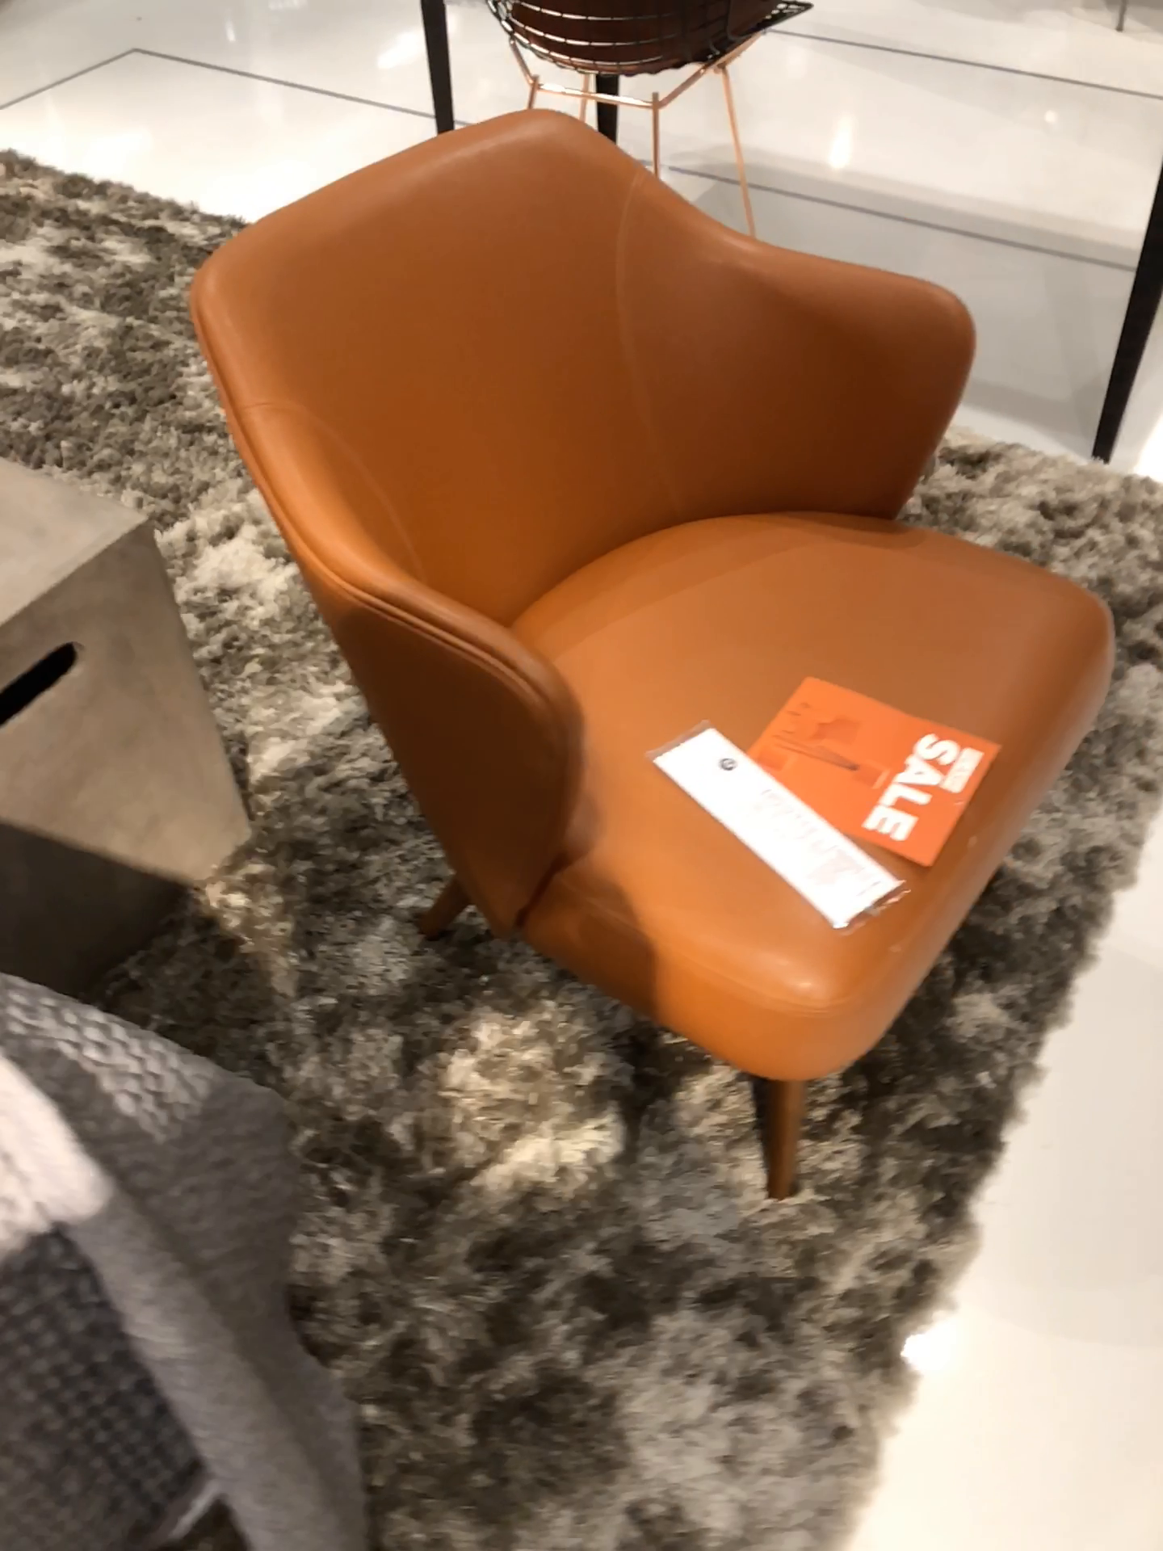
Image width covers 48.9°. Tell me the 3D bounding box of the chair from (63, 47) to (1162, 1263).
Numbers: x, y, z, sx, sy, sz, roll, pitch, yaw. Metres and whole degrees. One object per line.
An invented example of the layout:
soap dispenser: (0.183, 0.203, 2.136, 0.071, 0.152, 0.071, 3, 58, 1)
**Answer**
chair: (0.087, -0.131, 1.160, 0.651, 0.705, 0.593, 28, 53, 25)
